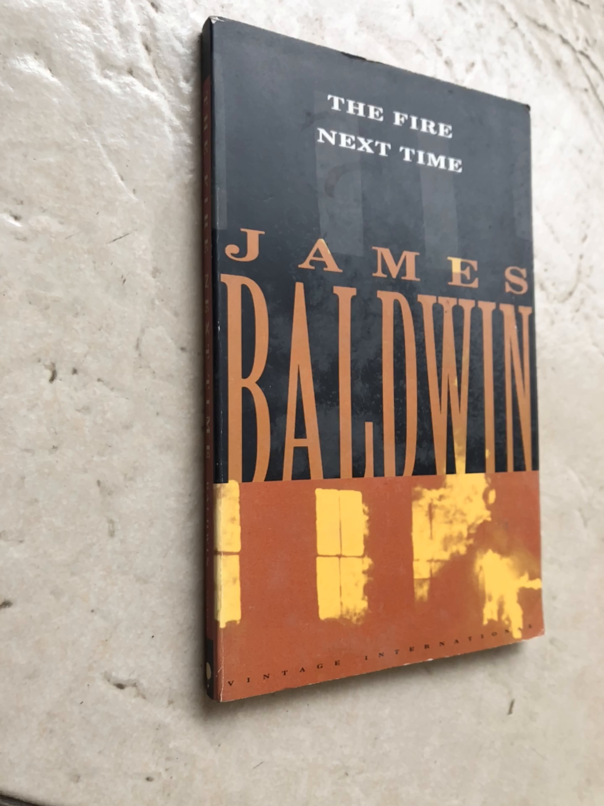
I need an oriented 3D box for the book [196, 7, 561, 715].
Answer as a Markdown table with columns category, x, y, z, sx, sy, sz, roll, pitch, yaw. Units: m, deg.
| category | x | y | z | sx | sy | sz | roll | pitch | yaw |
| --- | --- | --- | --- | --- | --- | --- | --- | --- | --- |
| book | 0.030 | -0.013 | 0.228 | 0.131 | 0.016 | 0.200 | 1 | 86 | -28 |
